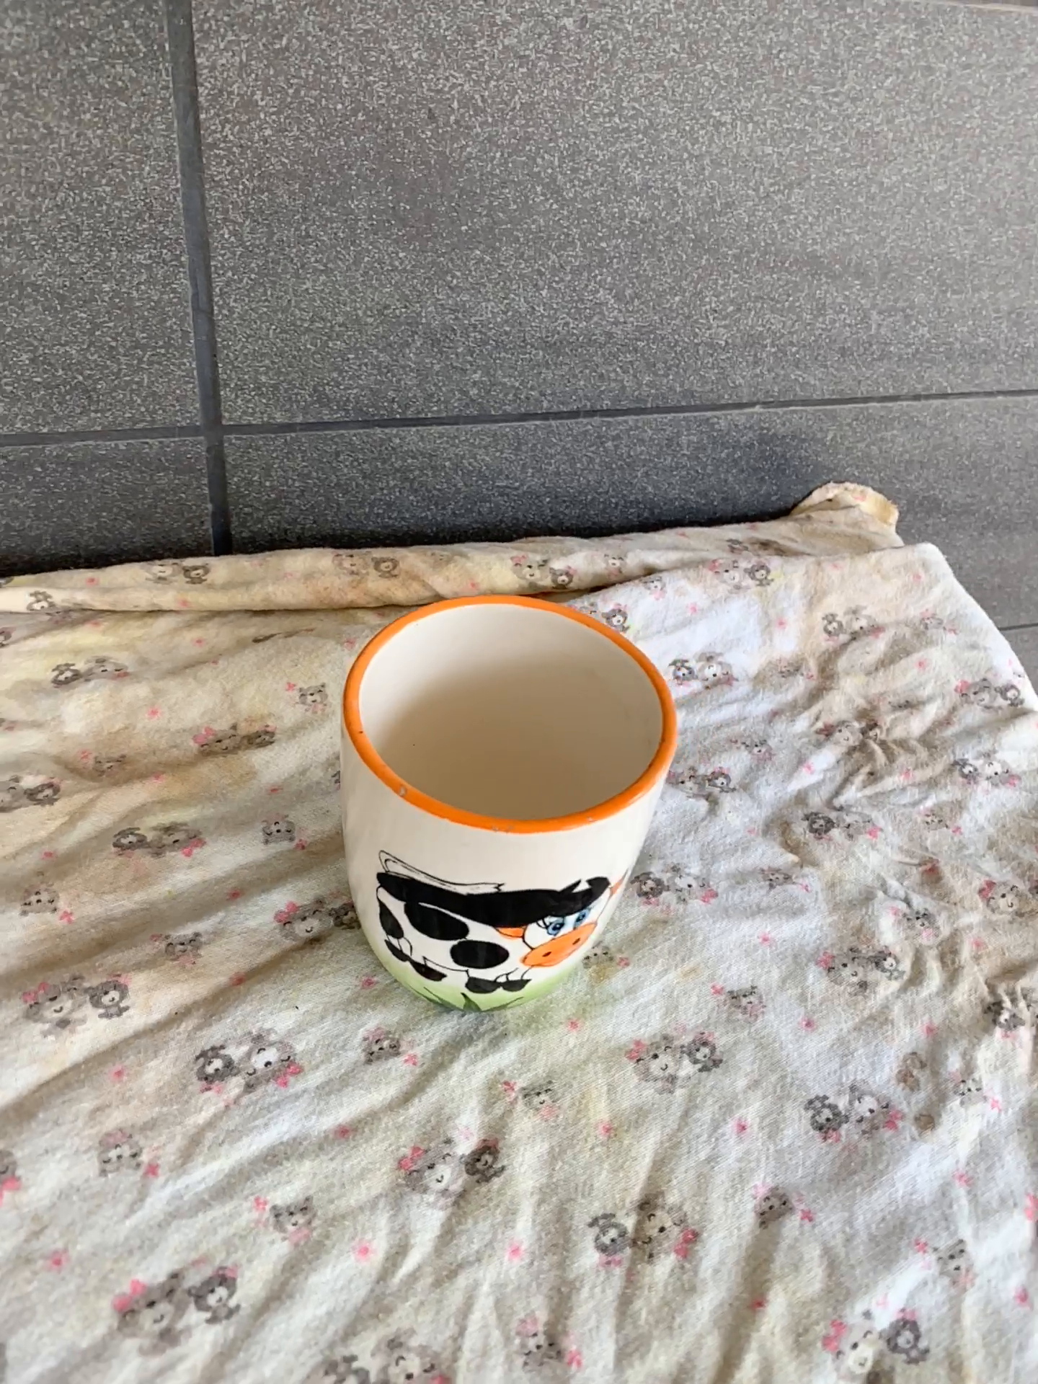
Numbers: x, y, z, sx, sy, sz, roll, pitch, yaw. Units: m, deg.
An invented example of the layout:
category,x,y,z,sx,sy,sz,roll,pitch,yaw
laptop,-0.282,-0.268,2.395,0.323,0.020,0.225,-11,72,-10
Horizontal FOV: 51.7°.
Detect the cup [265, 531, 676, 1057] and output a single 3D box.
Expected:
category,x,y,z,sx,sy,sz,roll,pitch,yaw
cup,-0.011,0.026,0.268,0.080,0.090,0.080,5,44,-5
